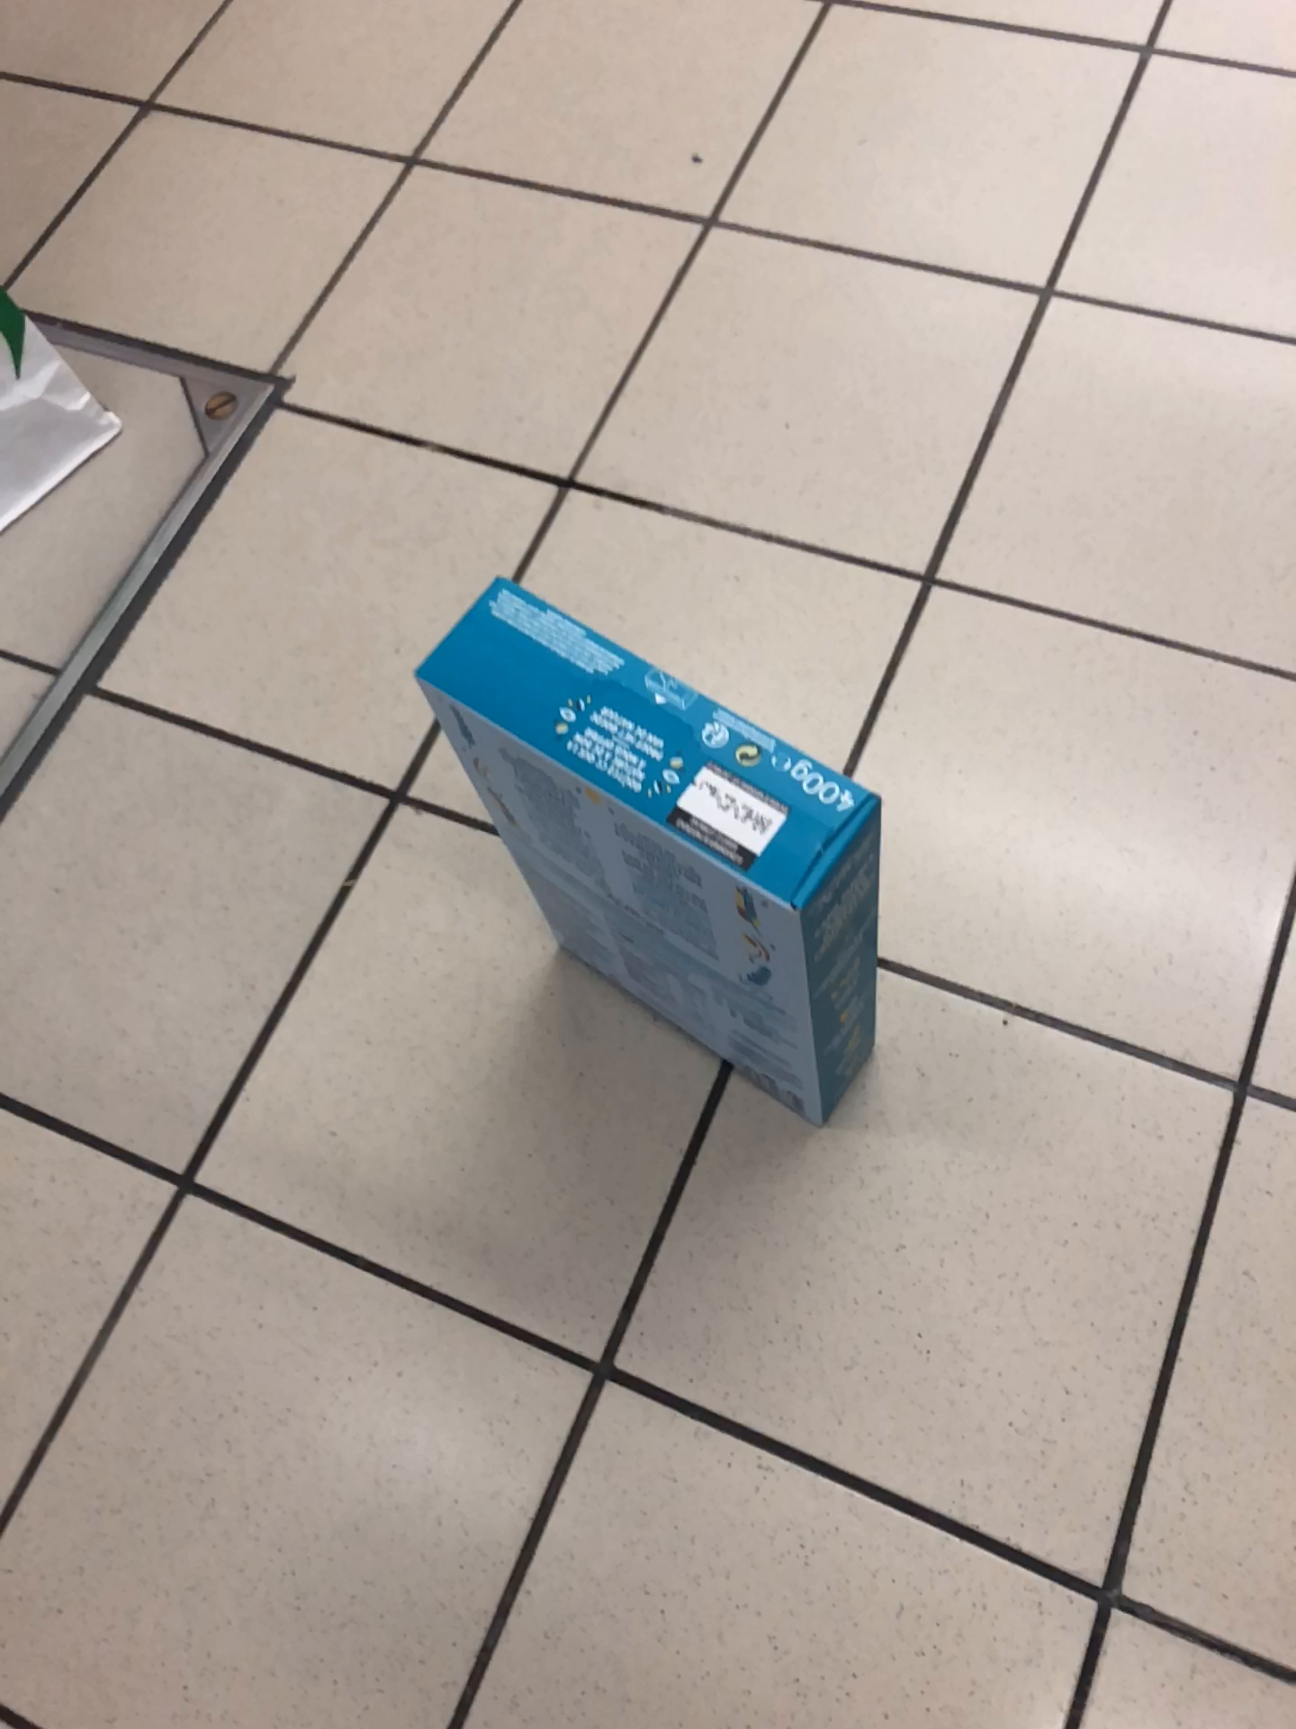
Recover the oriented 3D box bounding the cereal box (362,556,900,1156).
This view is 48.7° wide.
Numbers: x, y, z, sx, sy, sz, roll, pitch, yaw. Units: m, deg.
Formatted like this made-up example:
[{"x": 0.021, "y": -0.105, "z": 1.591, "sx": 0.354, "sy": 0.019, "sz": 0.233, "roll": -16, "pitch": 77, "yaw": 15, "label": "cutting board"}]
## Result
[{"x": 0.006, "y": 0.012, "z": 0.525, "sx": 0.160, "sy": 0.239, "sz": 0.050, "roll": 31, "pitch": 72, "yaw": 20, "label": "cereal box"}]
